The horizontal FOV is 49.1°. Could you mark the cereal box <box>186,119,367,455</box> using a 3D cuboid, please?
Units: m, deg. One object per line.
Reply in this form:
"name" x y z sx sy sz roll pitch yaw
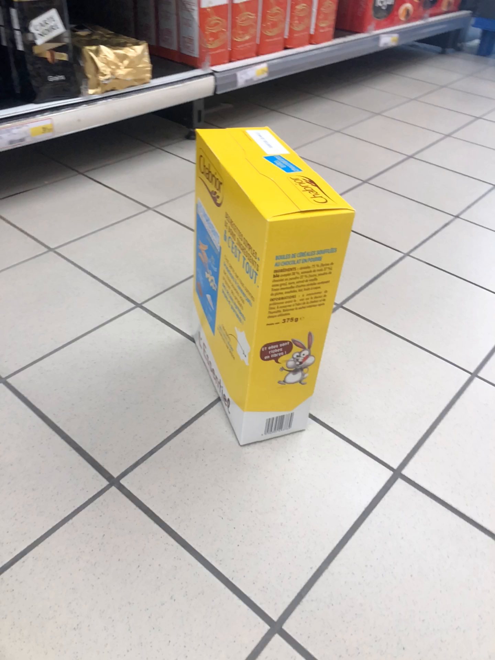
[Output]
"cereal box" 0.007 -0.045 0.557 0.090 0.268 0.201 -10 41 -17
